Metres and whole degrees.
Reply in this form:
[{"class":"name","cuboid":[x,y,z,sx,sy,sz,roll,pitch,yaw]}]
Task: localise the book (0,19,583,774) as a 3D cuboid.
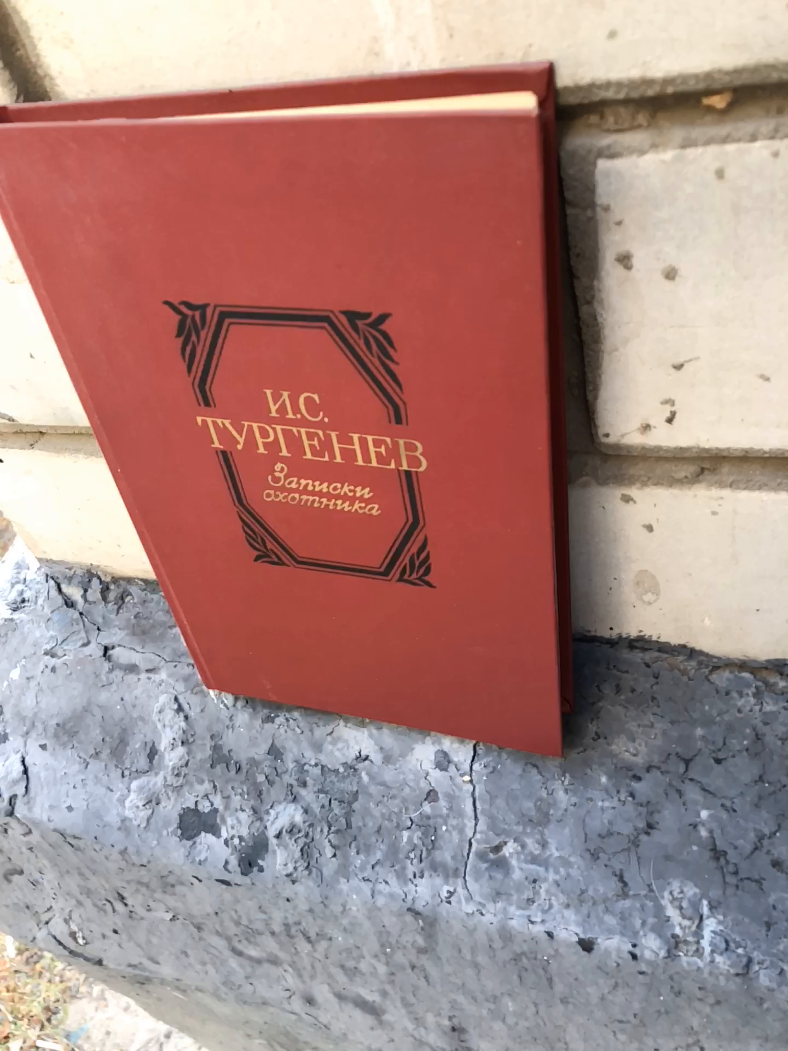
[{"class":"book","cuboid":[-0.027,-0.016,0.246,0.147,0.205,0.026,7,43,23]}]
